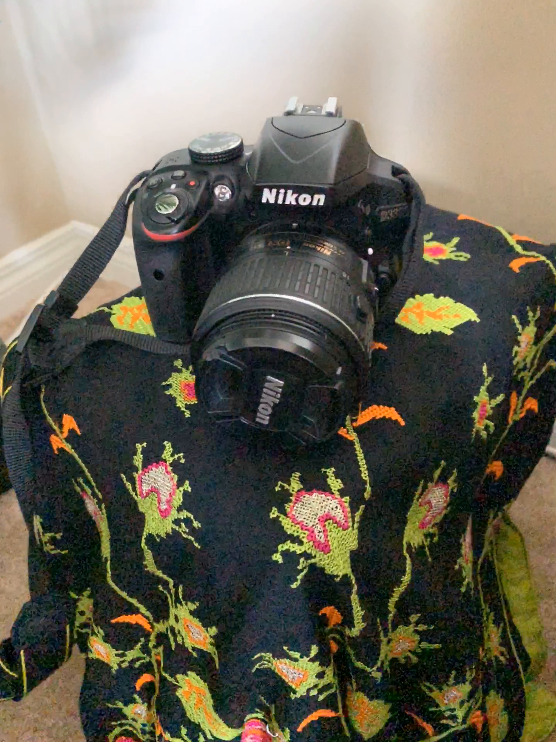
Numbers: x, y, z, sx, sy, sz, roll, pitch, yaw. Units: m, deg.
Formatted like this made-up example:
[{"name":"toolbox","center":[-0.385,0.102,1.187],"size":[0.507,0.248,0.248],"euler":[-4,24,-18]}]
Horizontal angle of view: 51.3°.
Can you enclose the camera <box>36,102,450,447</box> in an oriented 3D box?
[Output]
[{"name":"camera","center":[-0.005,-0.041,0.231],"size":[0.120,0.099,0.091],"euler":[3,42,7]}]
